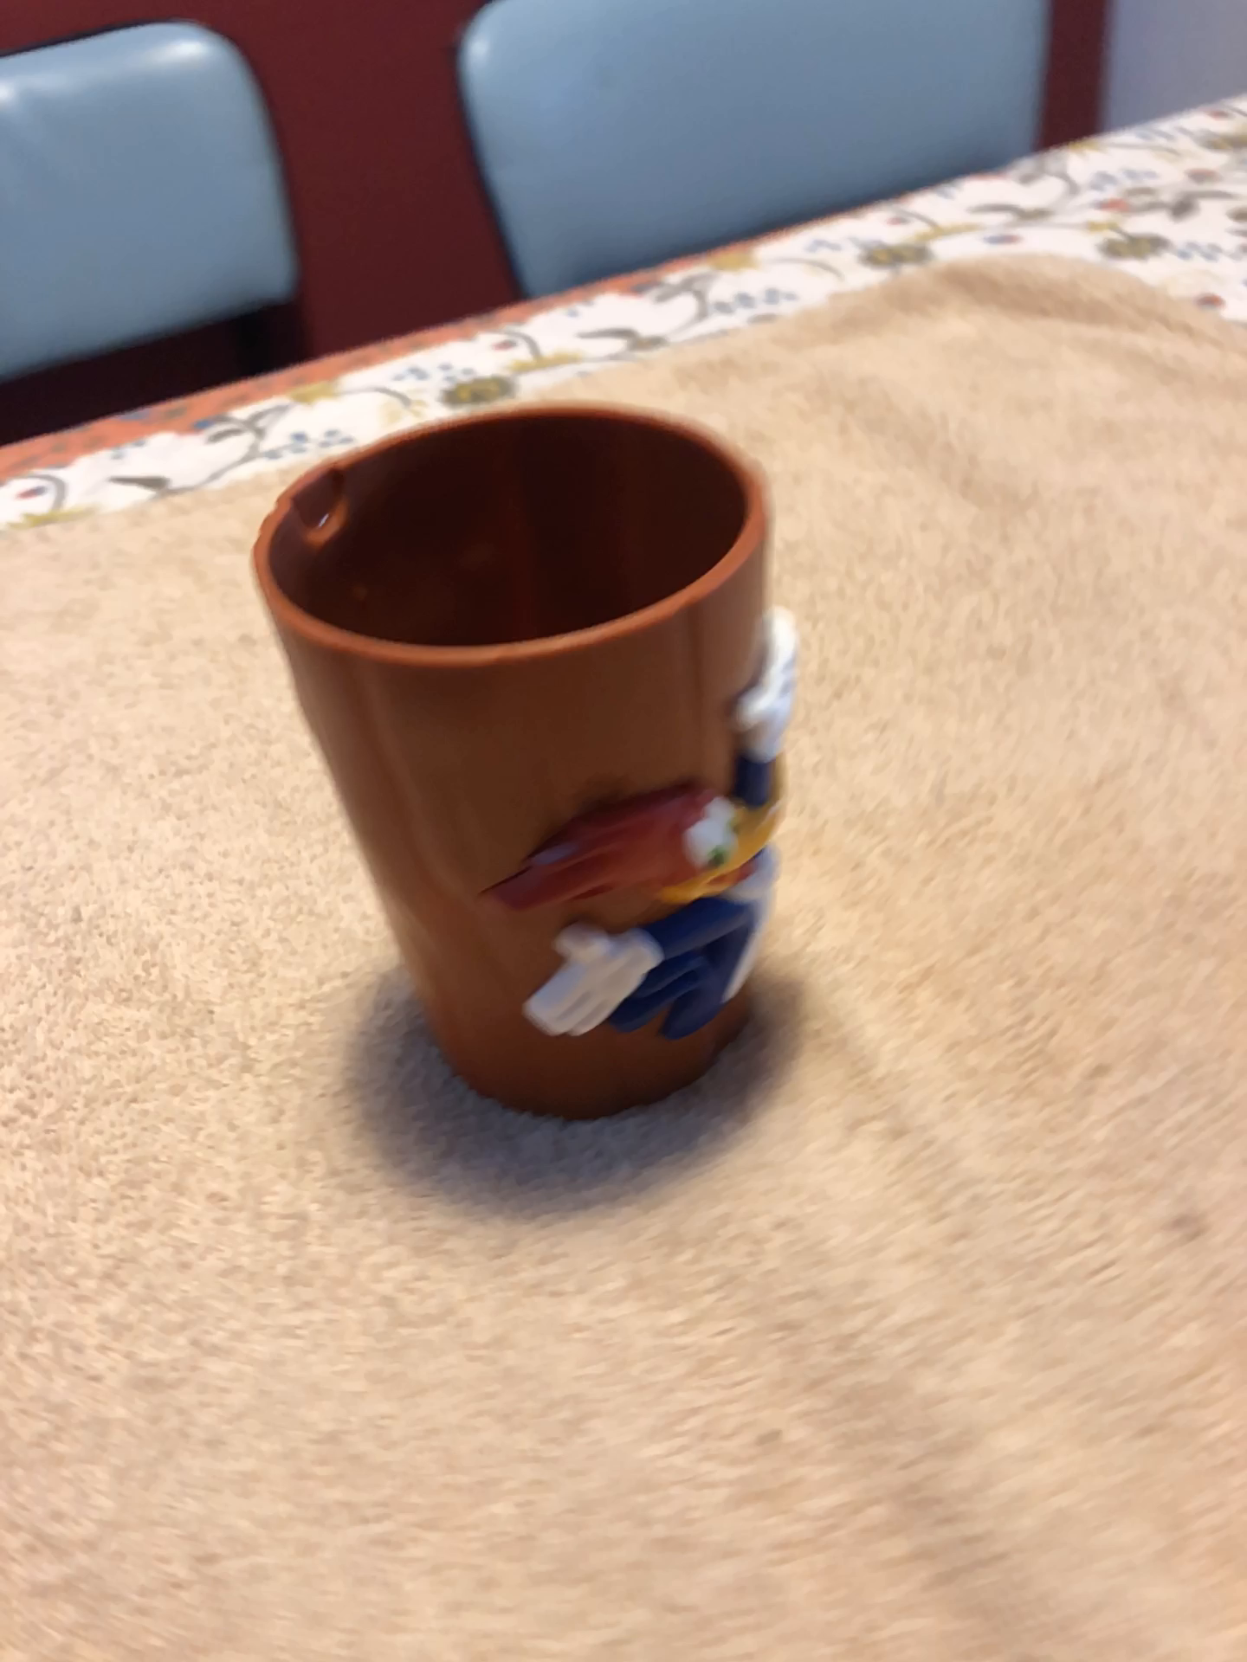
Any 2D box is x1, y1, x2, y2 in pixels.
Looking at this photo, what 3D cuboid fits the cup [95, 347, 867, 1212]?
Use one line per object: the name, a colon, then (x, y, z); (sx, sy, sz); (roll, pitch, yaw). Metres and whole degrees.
cup: (-0.016, -0.013, 0.252); (0.090, 0.109, 0.080); (22, 49, 32)
